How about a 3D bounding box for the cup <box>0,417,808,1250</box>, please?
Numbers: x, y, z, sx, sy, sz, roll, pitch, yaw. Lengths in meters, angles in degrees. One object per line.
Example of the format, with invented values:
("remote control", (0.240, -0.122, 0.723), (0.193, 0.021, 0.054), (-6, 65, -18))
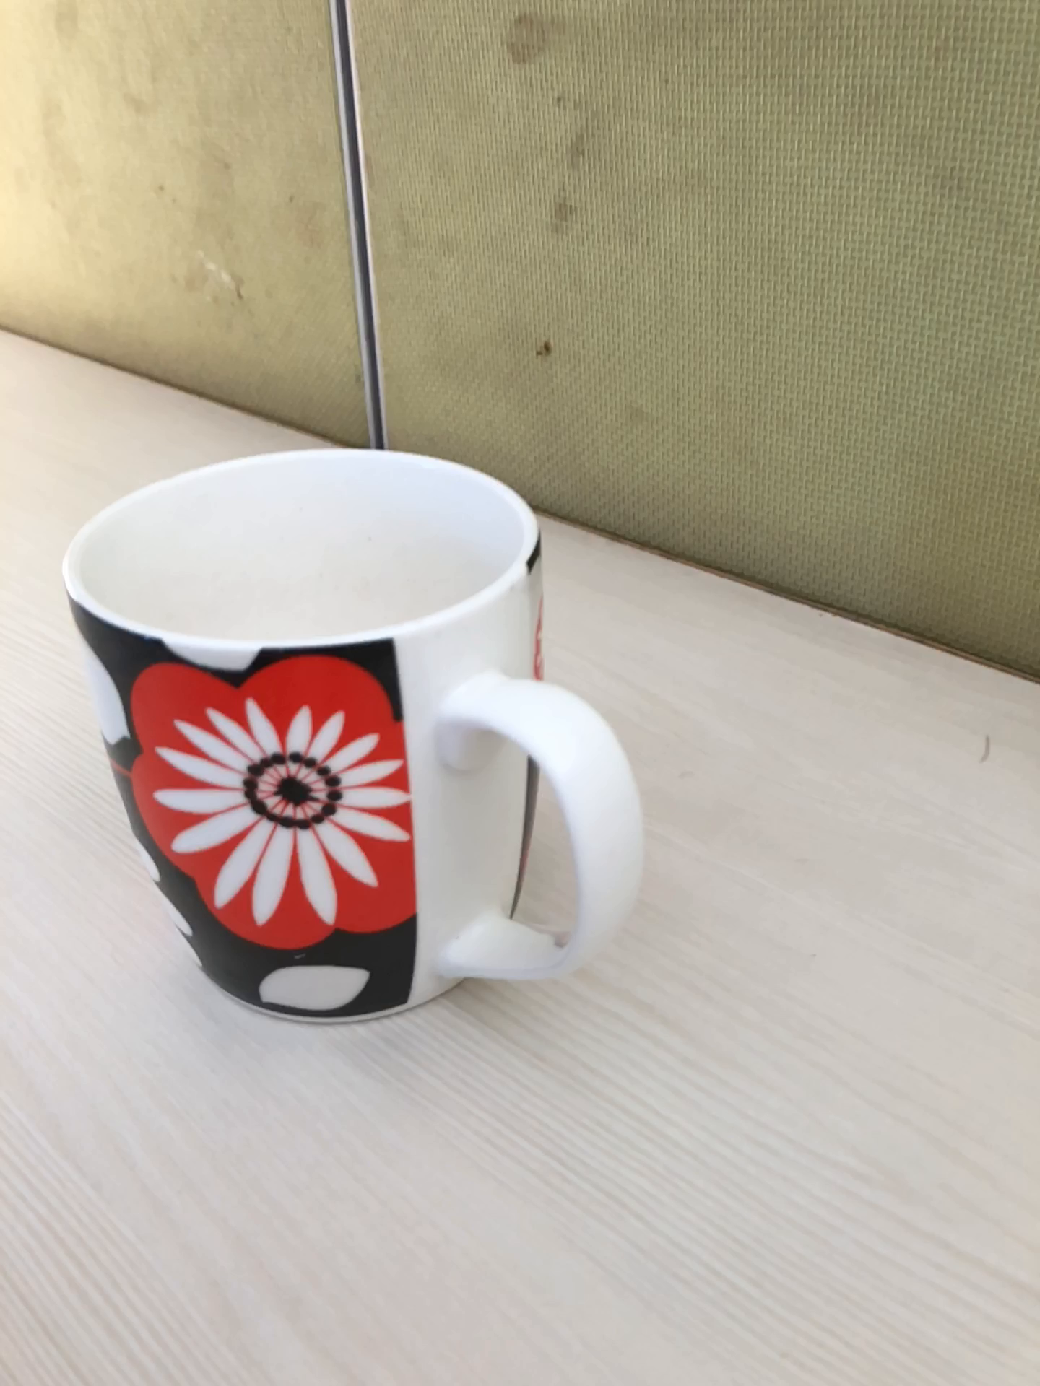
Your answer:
("cup", (-0.024, 0.013, 0.221), (0.120, 0.089, 0.091), (19, 36, 29))
